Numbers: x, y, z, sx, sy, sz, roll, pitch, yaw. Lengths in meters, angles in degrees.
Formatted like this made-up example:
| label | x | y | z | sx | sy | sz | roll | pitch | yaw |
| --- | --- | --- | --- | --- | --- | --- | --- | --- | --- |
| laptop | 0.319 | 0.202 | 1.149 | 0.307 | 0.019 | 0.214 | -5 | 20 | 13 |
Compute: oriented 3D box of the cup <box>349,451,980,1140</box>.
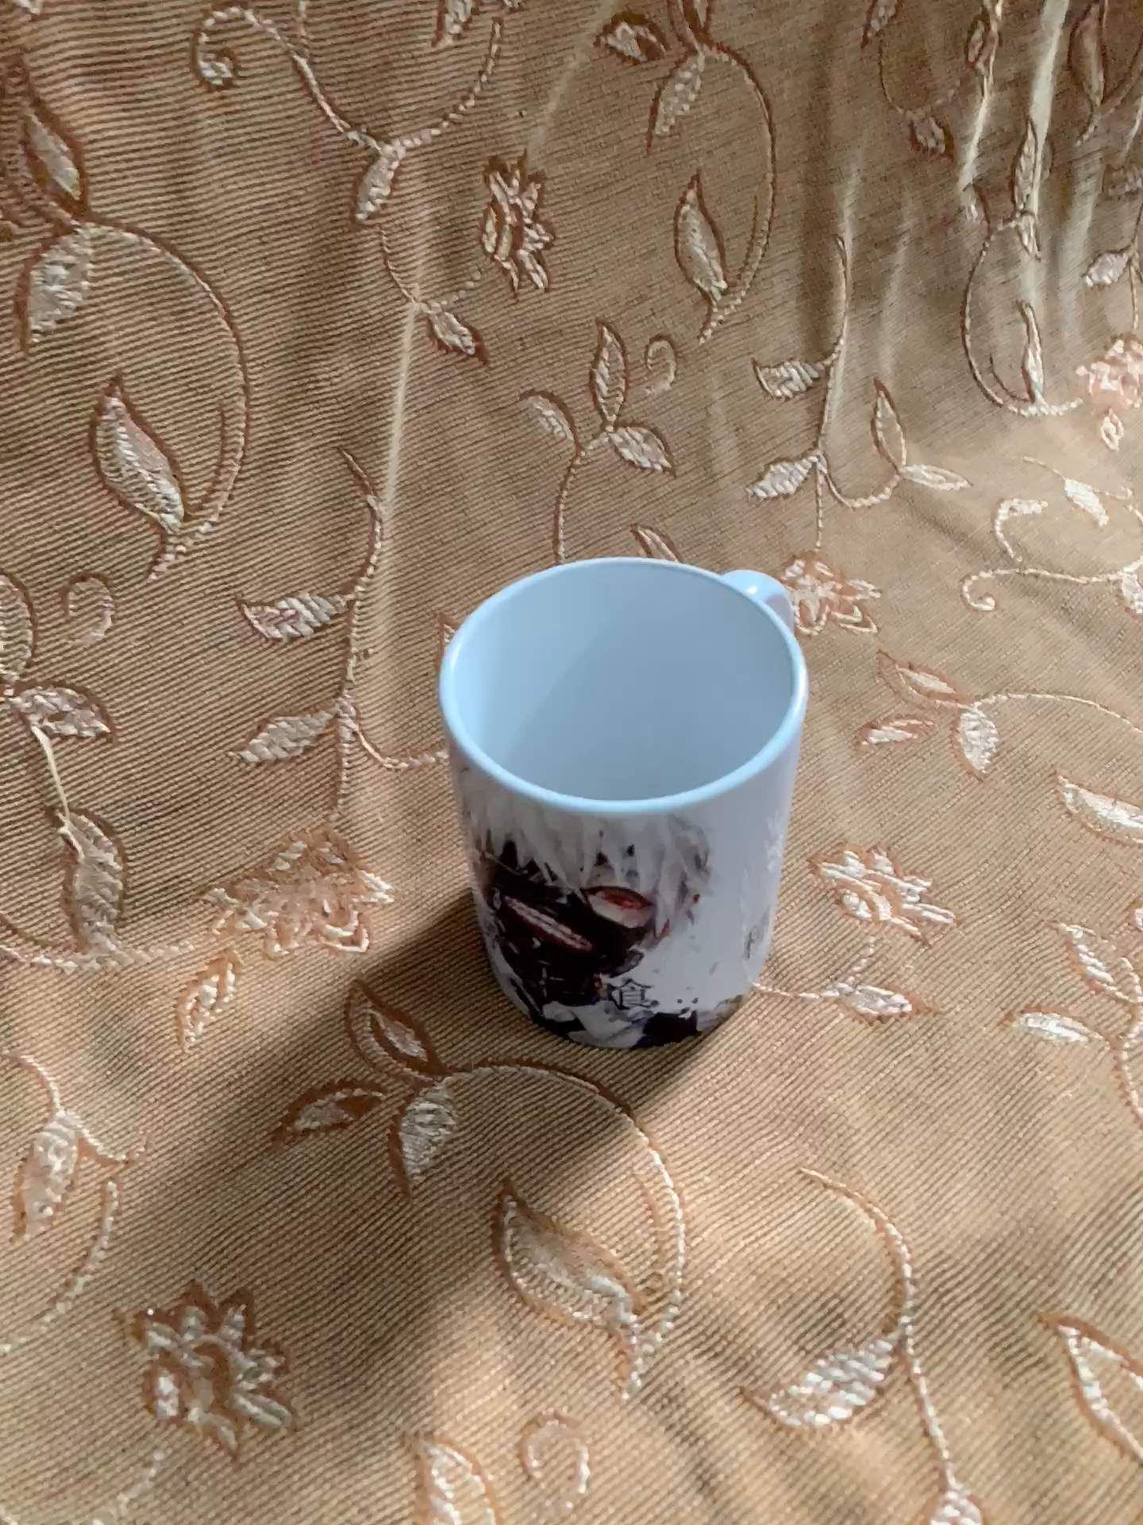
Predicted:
| label | x | y | z | sx | sy | sz | roll | pitch | yaw |
| --- | --- | --- | --- | --- | --- | --- | --- | --- | --- |
| cup | 0.025 | 0.005 | 0.297 | 0.121 | 0.101 | 0.080 | -37 | 56 | -27 |
